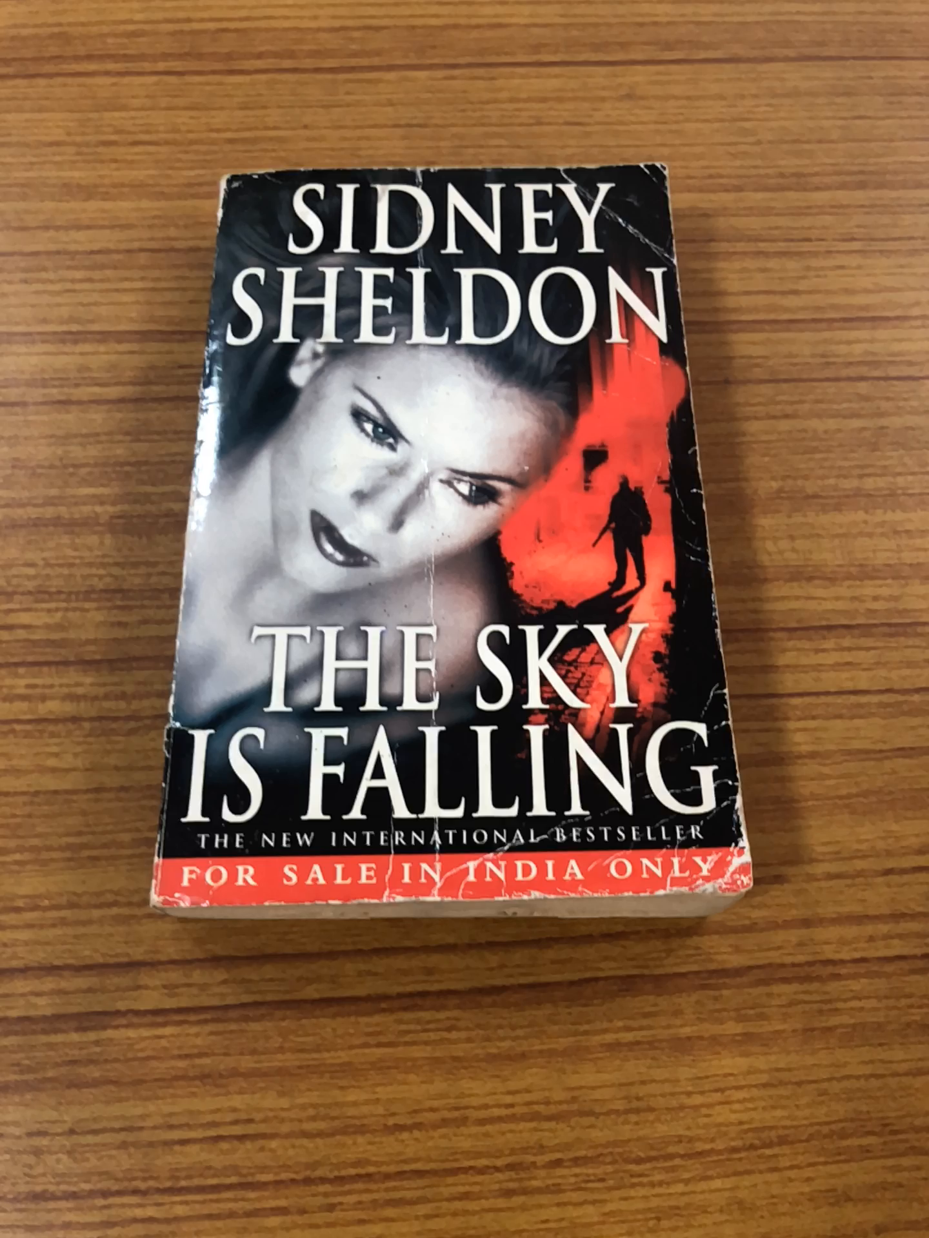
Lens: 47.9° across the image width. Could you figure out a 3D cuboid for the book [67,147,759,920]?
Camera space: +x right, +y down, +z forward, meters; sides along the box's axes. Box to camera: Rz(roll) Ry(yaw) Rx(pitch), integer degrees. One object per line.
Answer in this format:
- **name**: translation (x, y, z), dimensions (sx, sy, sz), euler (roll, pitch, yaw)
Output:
- **book**: translation (-0.009, -0.024, 0.226), dimensions (0.120, 0.030, 0.170), euler (0, 69, -1)
